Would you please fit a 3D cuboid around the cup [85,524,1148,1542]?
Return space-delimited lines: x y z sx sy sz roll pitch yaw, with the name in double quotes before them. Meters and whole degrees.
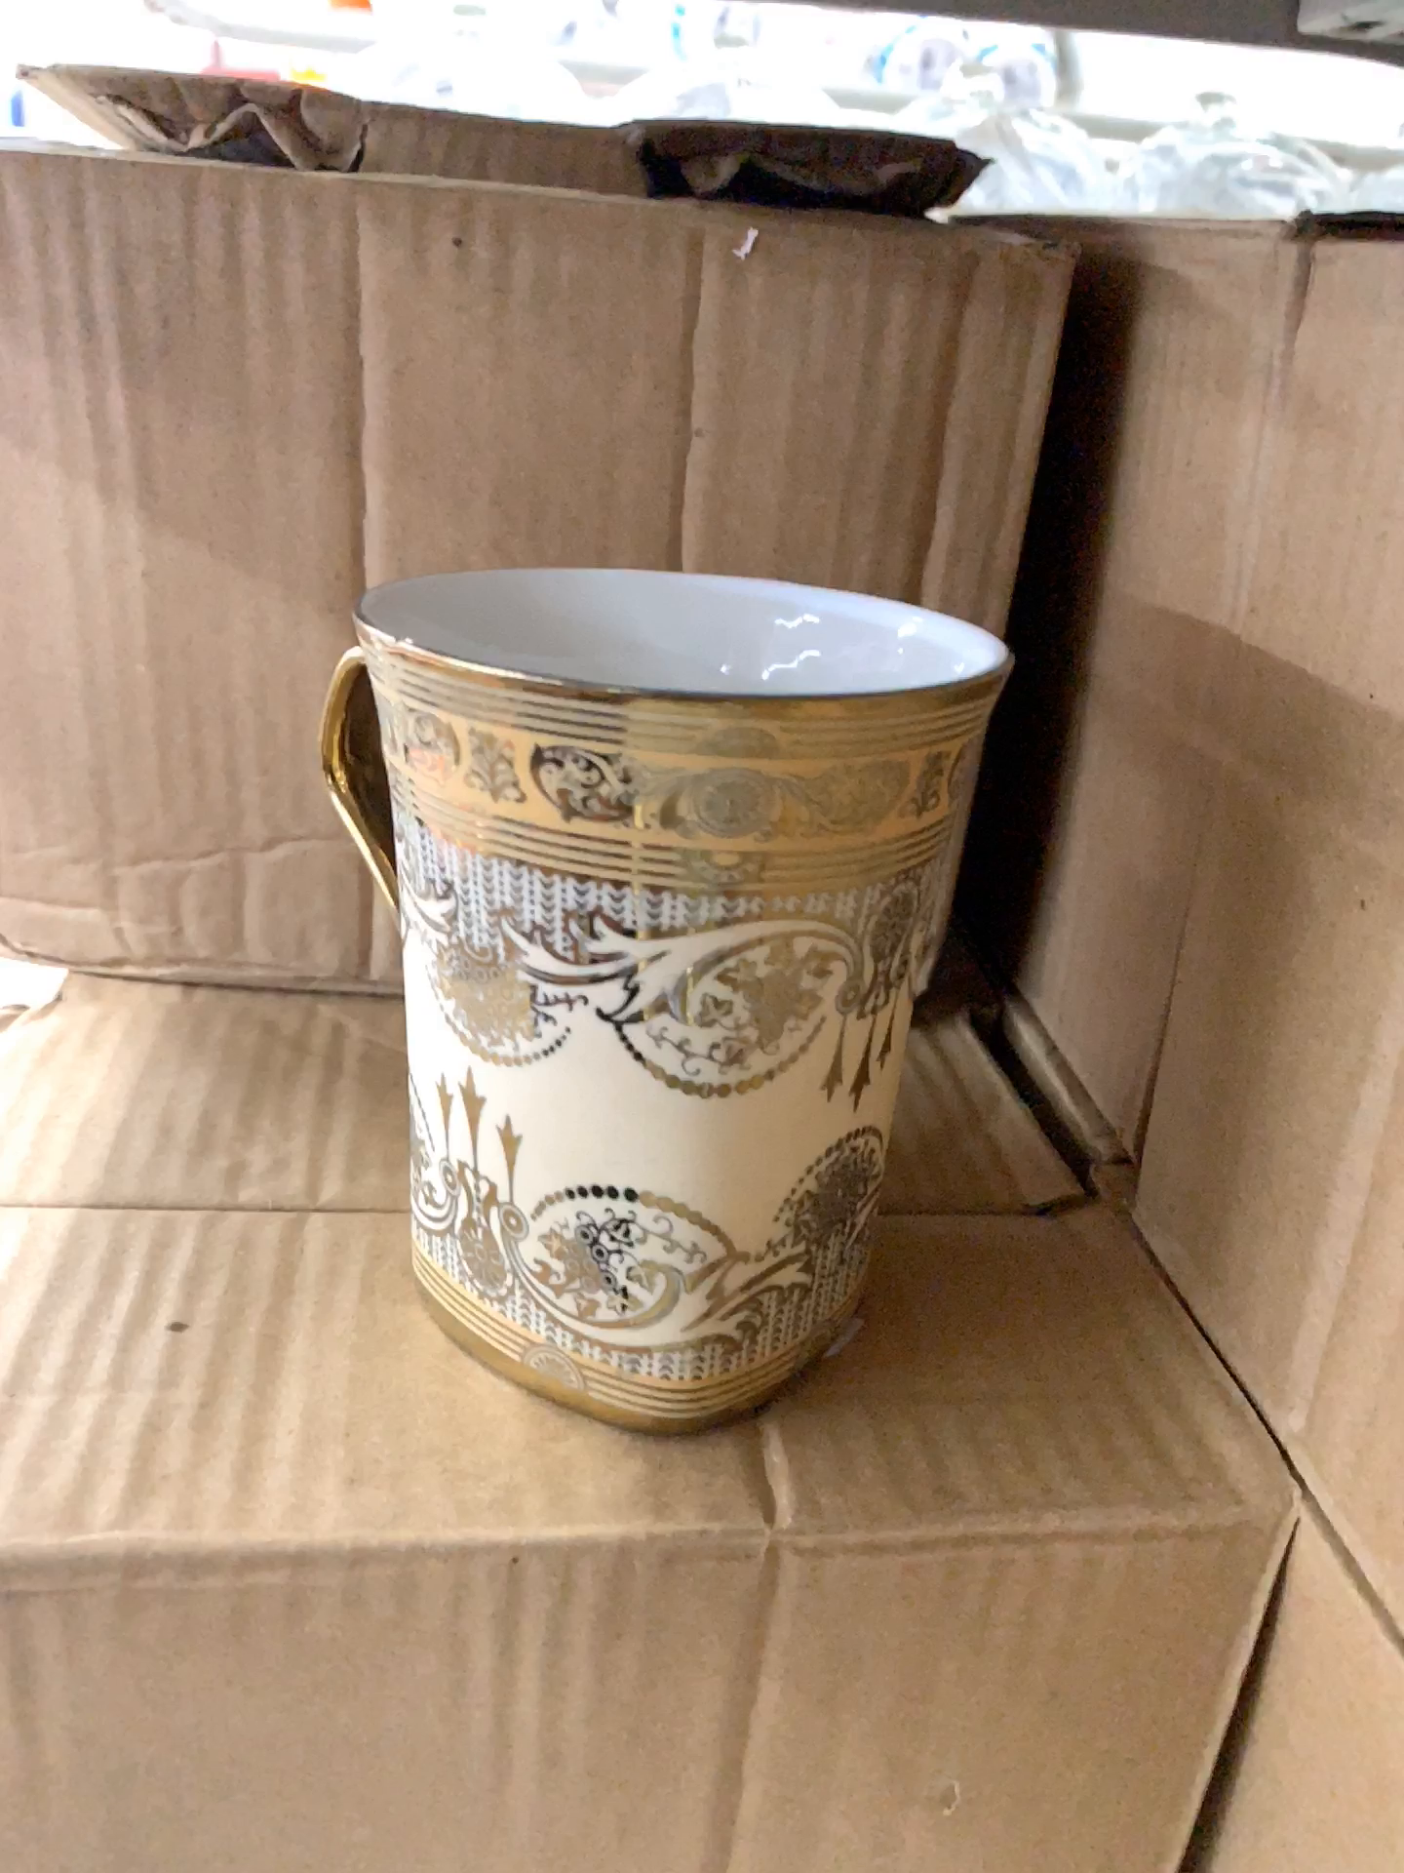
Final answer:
"cup" -0.013 -0.001 0.205 0.110 0.089 0.080 19 28 33
